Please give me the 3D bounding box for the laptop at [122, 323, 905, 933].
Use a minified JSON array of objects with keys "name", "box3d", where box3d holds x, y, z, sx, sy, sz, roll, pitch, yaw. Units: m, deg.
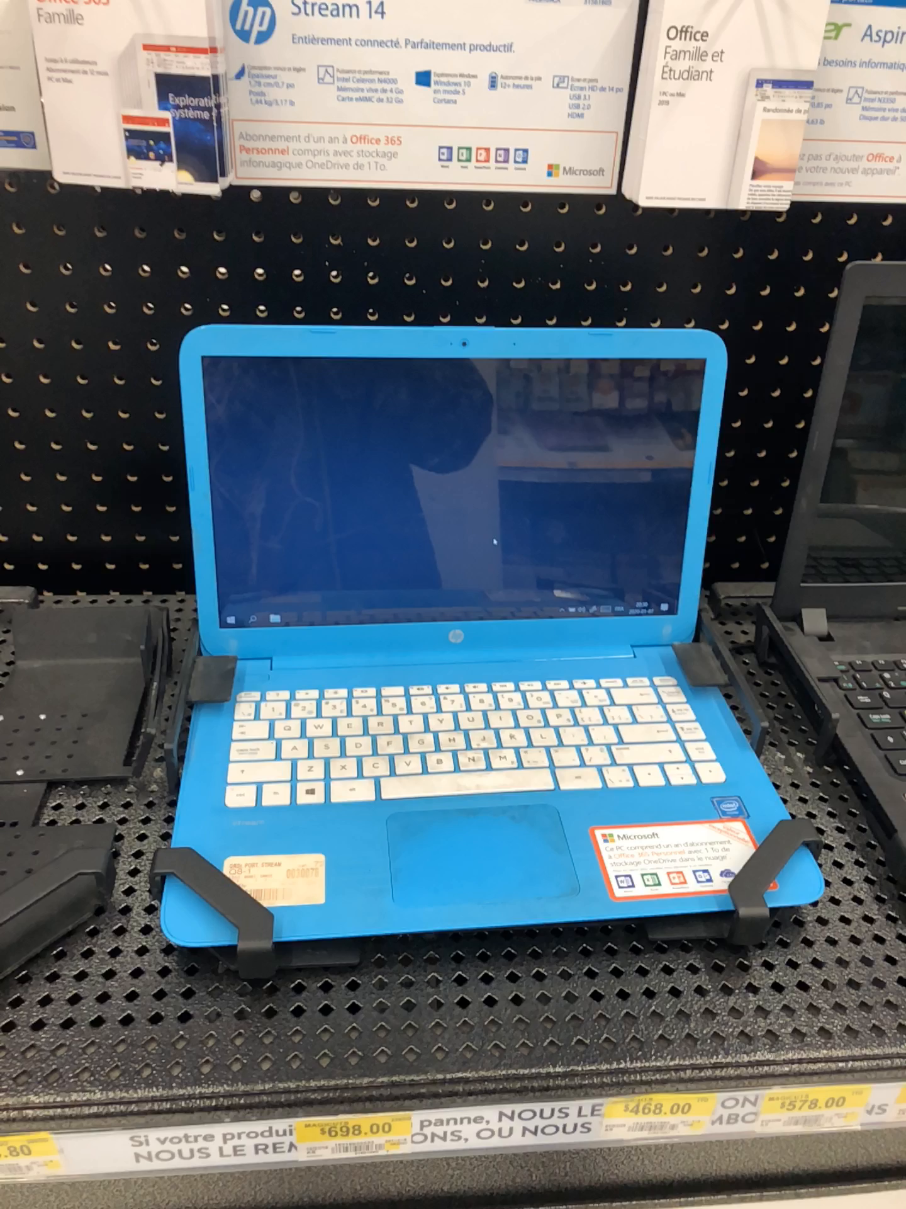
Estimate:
[{"name":"laptop","box3d":[0.015,-0.008,0.544,0.319,0.197,0.270,-1,34,-6]}]
